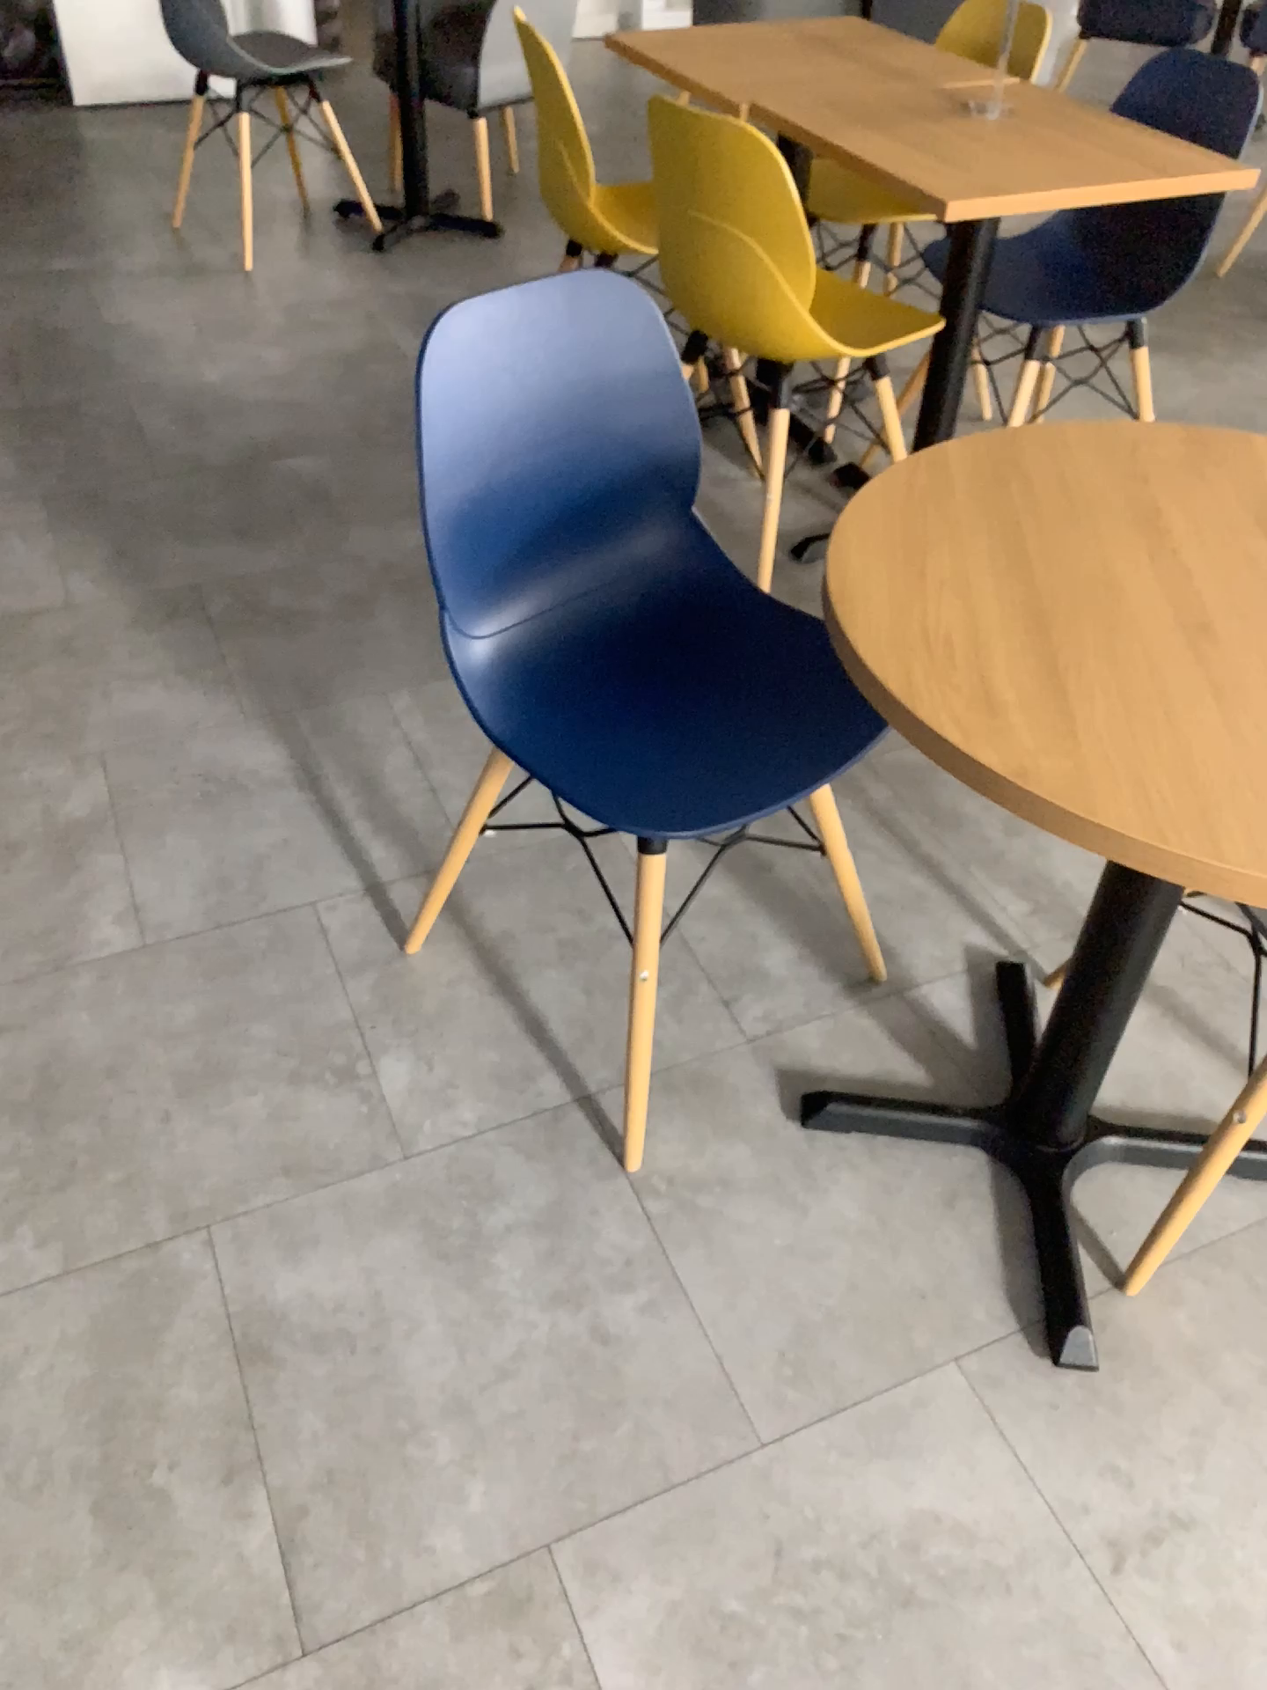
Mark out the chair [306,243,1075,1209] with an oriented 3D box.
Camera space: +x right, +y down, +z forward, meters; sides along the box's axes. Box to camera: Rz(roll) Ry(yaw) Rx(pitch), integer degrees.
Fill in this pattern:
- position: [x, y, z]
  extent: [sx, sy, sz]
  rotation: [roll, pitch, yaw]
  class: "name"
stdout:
- position: [0.032, -0.132, 1.443]
  extent: [0.491, 0.809, 0.499]
  rotation: [-28, 50, -31]
  class: "chair"
